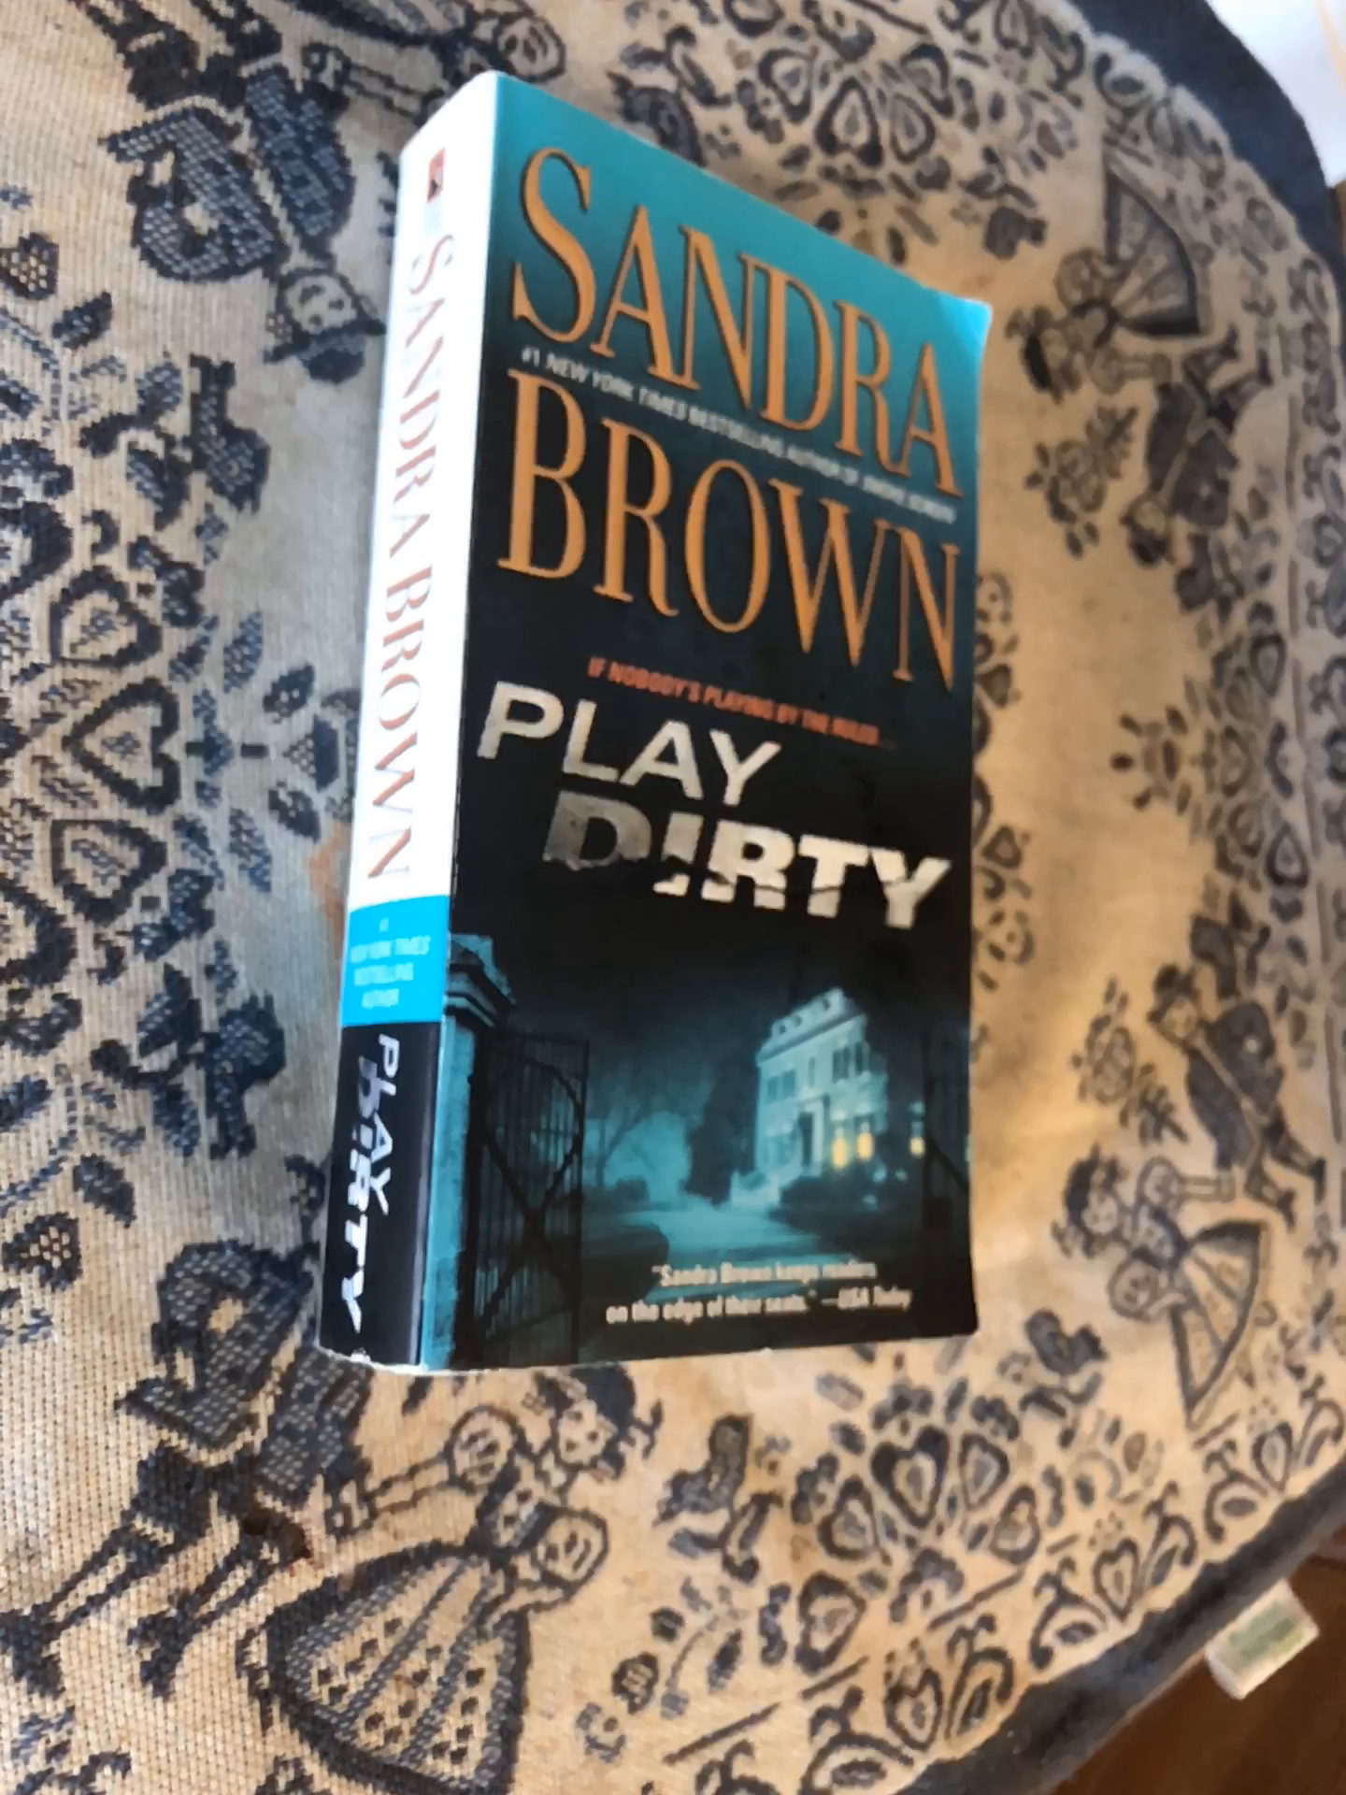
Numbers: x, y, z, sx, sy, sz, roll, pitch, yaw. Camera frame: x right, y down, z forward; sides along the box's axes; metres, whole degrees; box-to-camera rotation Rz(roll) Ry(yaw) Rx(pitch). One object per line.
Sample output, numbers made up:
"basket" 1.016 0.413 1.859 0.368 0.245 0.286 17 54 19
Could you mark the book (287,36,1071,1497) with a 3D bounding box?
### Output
"book" 0.008 -0.014 0.231 0.110 0.040 0.180 8 81 -36
